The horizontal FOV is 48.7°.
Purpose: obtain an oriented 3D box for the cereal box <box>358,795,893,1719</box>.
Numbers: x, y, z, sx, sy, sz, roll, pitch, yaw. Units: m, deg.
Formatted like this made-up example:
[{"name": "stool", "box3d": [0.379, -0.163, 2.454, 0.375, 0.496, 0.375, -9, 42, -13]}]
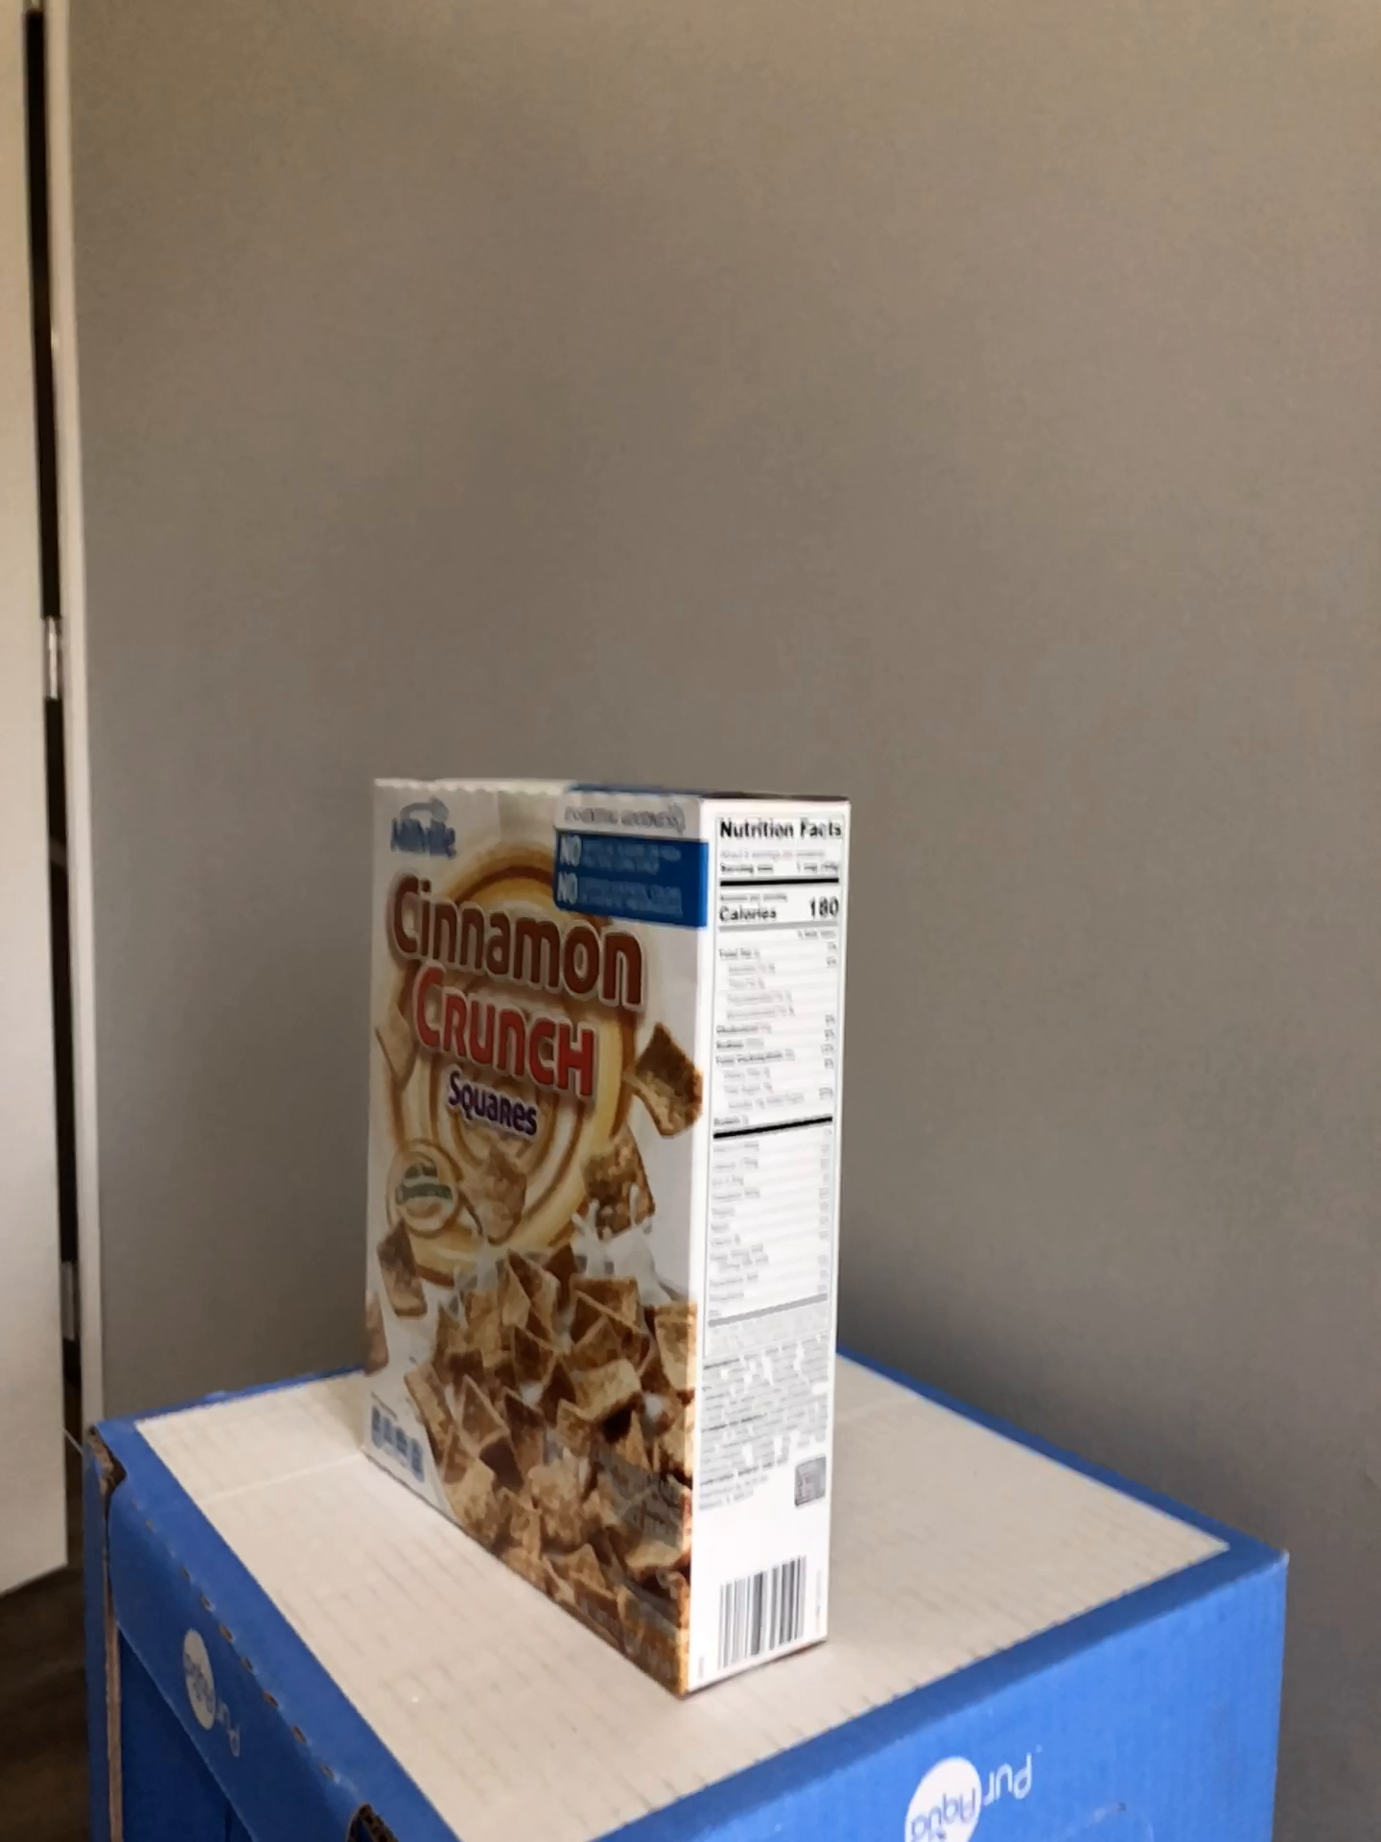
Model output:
[{"name": "cereal box", "box3d": [-0.034, 0.085, 0.514, 0.070, 0.250, 0.210, -3, 6, -37]}]
